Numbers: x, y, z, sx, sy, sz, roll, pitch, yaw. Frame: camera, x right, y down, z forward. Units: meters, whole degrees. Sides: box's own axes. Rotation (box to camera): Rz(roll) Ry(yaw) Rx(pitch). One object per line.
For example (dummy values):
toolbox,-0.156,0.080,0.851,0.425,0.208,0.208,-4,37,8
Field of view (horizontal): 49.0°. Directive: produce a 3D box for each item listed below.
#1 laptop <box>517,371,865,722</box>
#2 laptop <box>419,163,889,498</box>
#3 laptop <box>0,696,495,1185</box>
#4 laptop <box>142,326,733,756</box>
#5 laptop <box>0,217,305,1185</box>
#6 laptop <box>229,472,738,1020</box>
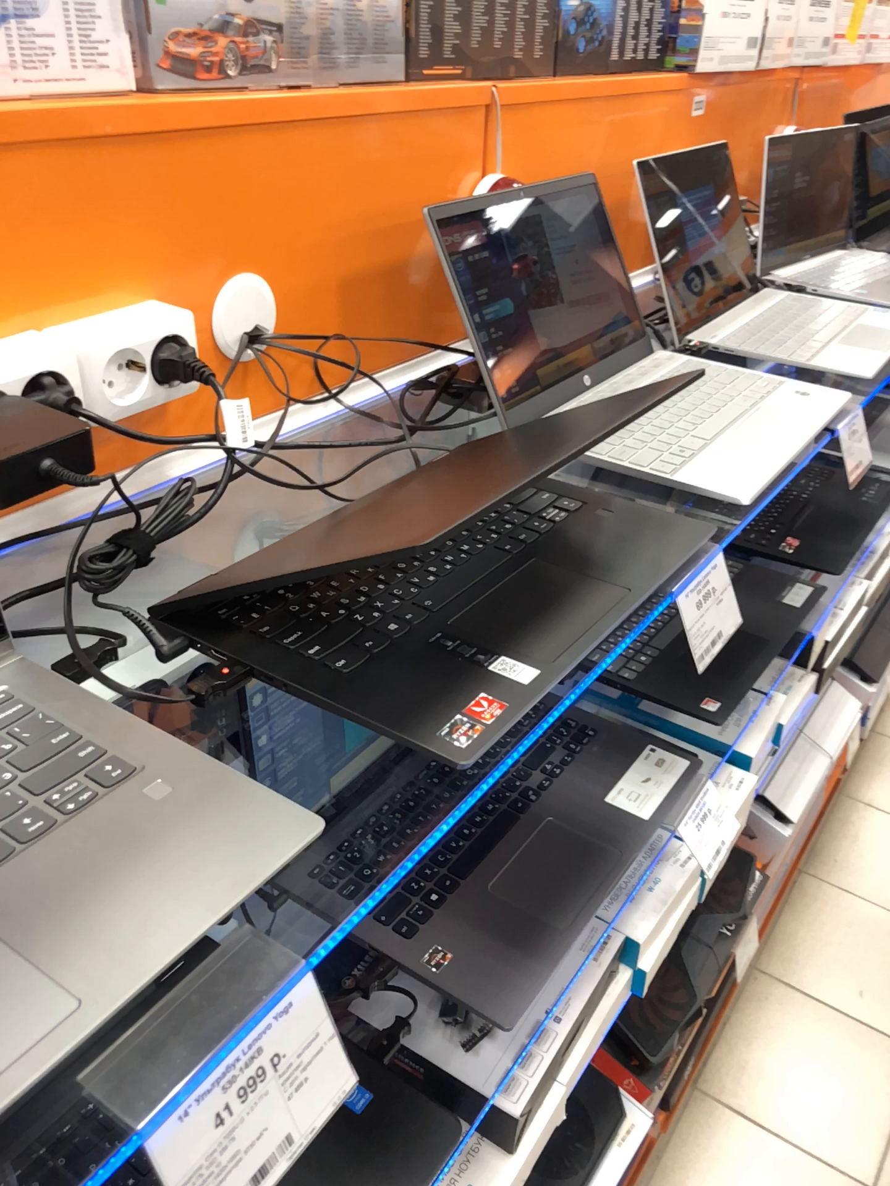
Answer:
laptop,0.286,-0.078,1.135,0.253,0.229,0.345,21,35,30
laptop,0.190,-0.263,0.894,0.317,0.162,0.284,23,38,28
laptop,-0.191,0.276,0.497,0.265,0.223,0.375,20,33,26
laptop,0.015,-0.064,0.617,0.214,0.102,0.325,21,35,27
laptop,-0.243,0.027,0.317,0.267,0.219,0.312,20,33,27
laptop,0.044,0.096,0.838,0.256,0.236,0.355,20,35,28
